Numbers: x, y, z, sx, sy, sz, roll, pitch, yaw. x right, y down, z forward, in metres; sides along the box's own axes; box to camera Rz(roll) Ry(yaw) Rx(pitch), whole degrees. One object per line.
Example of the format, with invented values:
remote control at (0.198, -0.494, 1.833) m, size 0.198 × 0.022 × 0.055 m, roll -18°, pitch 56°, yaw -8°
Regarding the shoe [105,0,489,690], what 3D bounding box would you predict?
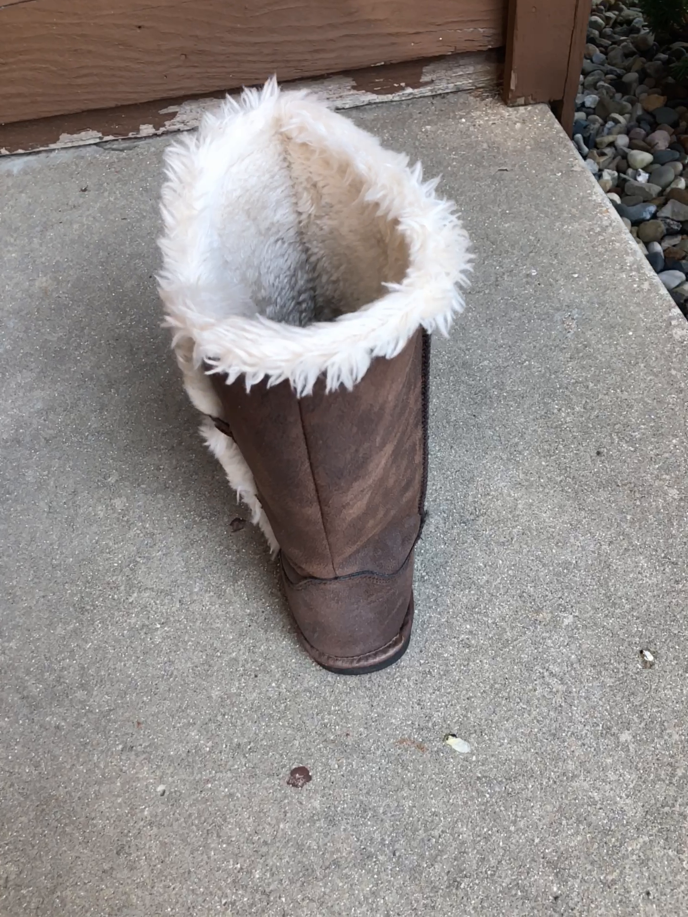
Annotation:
shoe at (-0.007, -0.061, 0.447) m, size 0.120 × 0.320 × 0.280 m, roll -5°, pitch 54°, yaw 3°
